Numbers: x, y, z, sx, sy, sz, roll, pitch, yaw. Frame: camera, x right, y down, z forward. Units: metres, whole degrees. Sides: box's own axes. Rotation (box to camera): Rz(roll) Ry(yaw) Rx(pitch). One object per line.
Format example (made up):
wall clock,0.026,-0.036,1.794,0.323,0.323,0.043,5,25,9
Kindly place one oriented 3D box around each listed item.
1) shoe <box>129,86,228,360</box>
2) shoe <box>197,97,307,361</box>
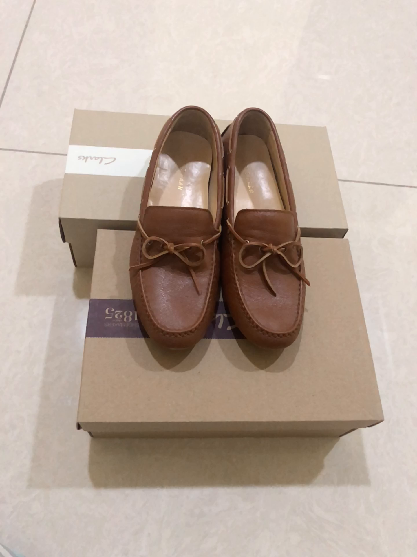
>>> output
shoe,-0.029,-0.063,0.493,0.080,0.080,0.280,5,67,-6
shoe,0.038,-0.058,0.507,0.080,0.080,0.280,0,68,-8
